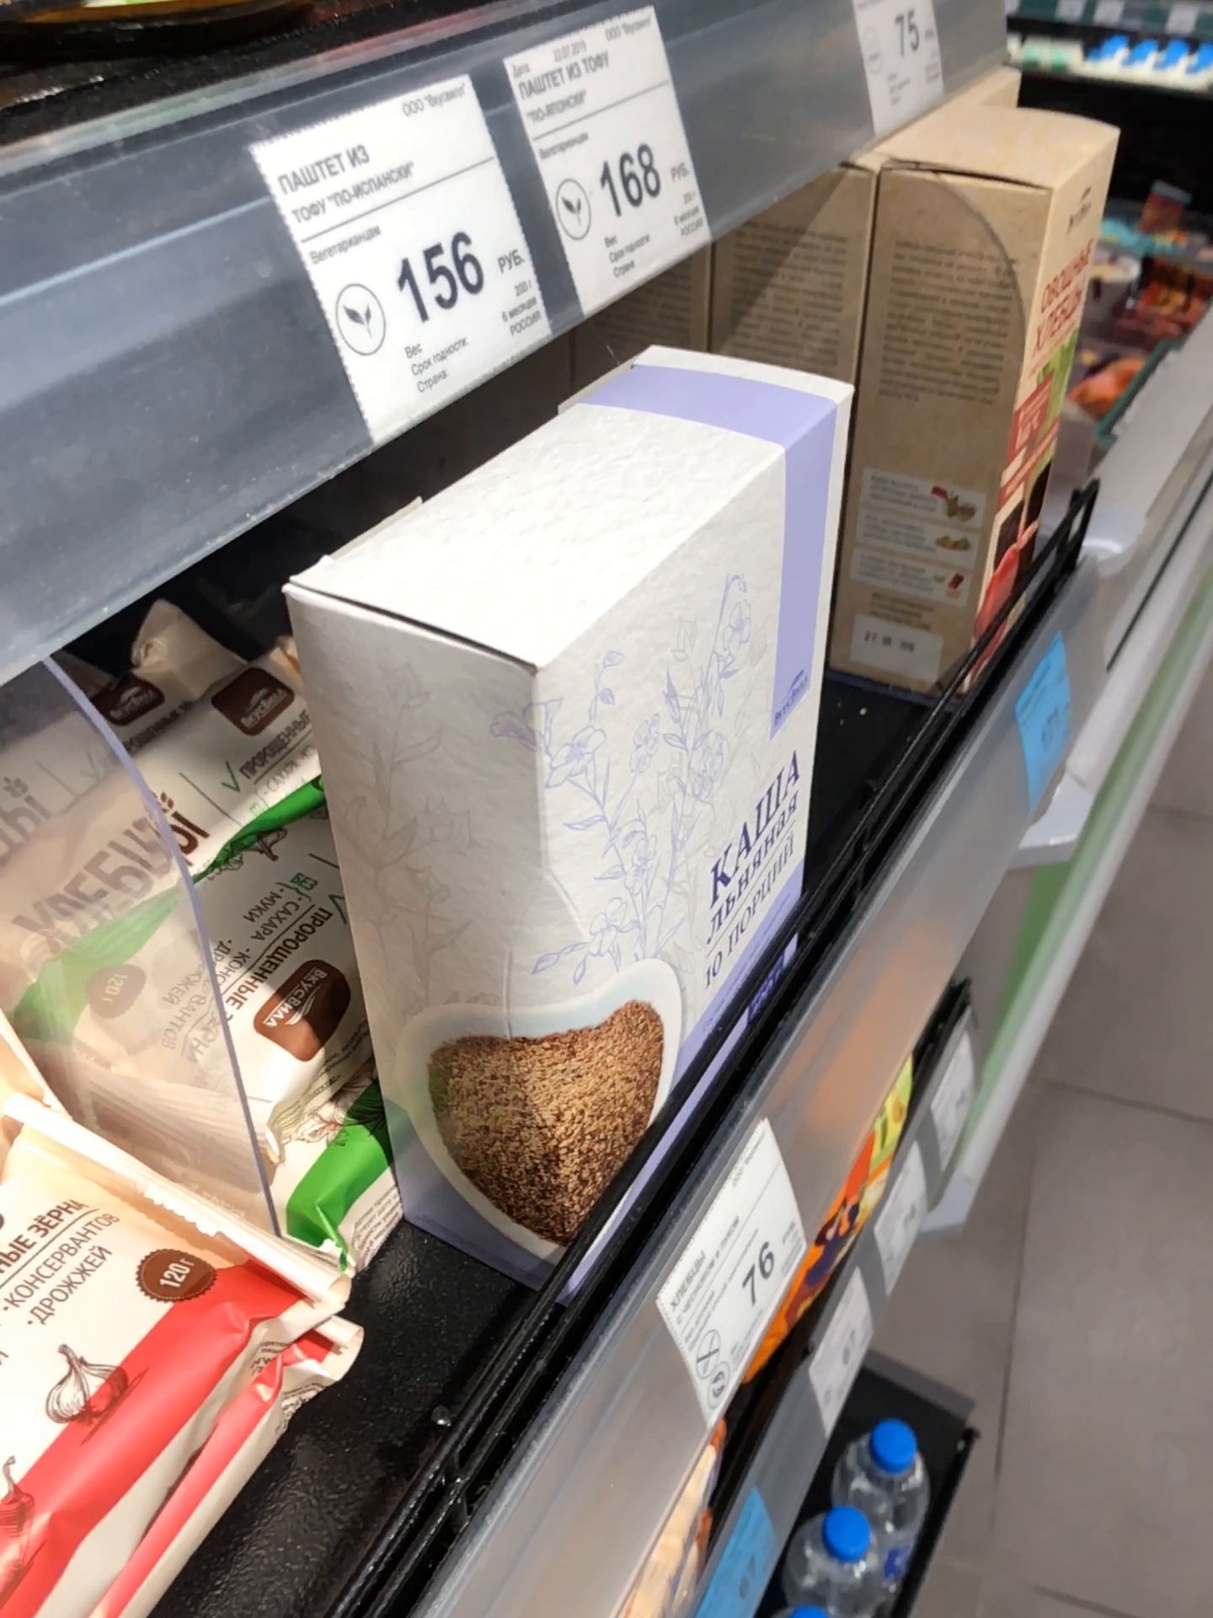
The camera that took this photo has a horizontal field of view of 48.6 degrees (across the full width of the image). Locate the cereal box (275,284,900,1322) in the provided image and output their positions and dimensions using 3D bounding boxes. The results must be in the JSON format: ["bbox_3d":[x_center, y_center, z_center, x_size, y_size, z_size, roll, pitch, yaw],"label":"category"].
[{"bbox_3d":[0.007,-0.002,0.318,0.050,0.189,0.151,20,44,23],"label":"cereal box"}]
